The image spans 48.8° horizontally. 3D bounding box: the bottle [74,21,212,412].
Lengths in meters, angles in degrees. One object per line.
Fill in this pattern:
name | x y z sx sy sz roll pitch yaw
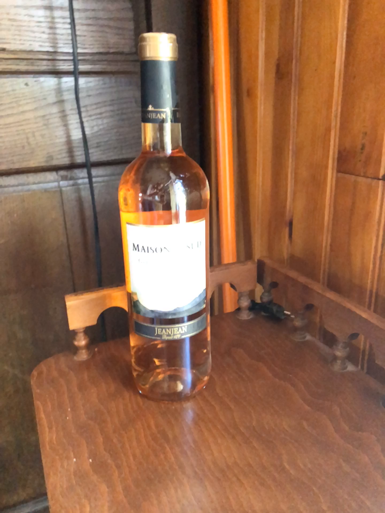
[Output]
bottle | -0.032 -0.021 0.342 0.080 0.289 0.070 -4 20 -6
